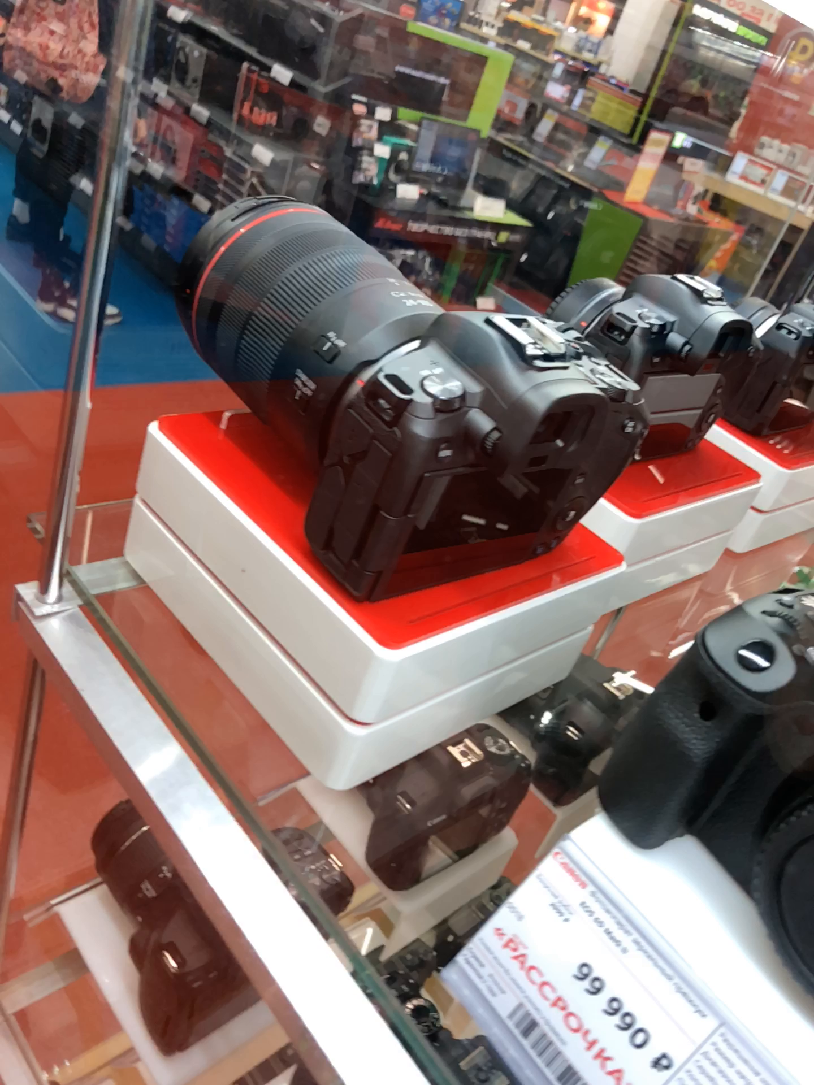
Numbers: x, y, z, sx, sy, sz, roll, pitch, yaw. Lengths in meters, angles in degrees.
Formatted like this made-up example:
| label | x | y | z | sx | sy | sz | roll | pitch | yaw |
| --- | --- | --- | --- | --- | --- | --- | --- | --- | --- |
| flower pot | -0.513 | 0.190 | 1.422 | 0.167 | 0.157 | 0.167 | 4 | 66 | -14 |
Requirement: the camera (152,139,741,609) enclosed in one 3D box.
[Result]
| label | x | y | z | sx | sy | sz | roll | pitch | yaw |
| --- | --- | --- | --- | --- | --- | --- | --- | --- | --- |
| camera | 0.010 | -0.080 | 0.378 | 0.145 | 0.093 | 0.180 | -14 | 46 | -44 |
